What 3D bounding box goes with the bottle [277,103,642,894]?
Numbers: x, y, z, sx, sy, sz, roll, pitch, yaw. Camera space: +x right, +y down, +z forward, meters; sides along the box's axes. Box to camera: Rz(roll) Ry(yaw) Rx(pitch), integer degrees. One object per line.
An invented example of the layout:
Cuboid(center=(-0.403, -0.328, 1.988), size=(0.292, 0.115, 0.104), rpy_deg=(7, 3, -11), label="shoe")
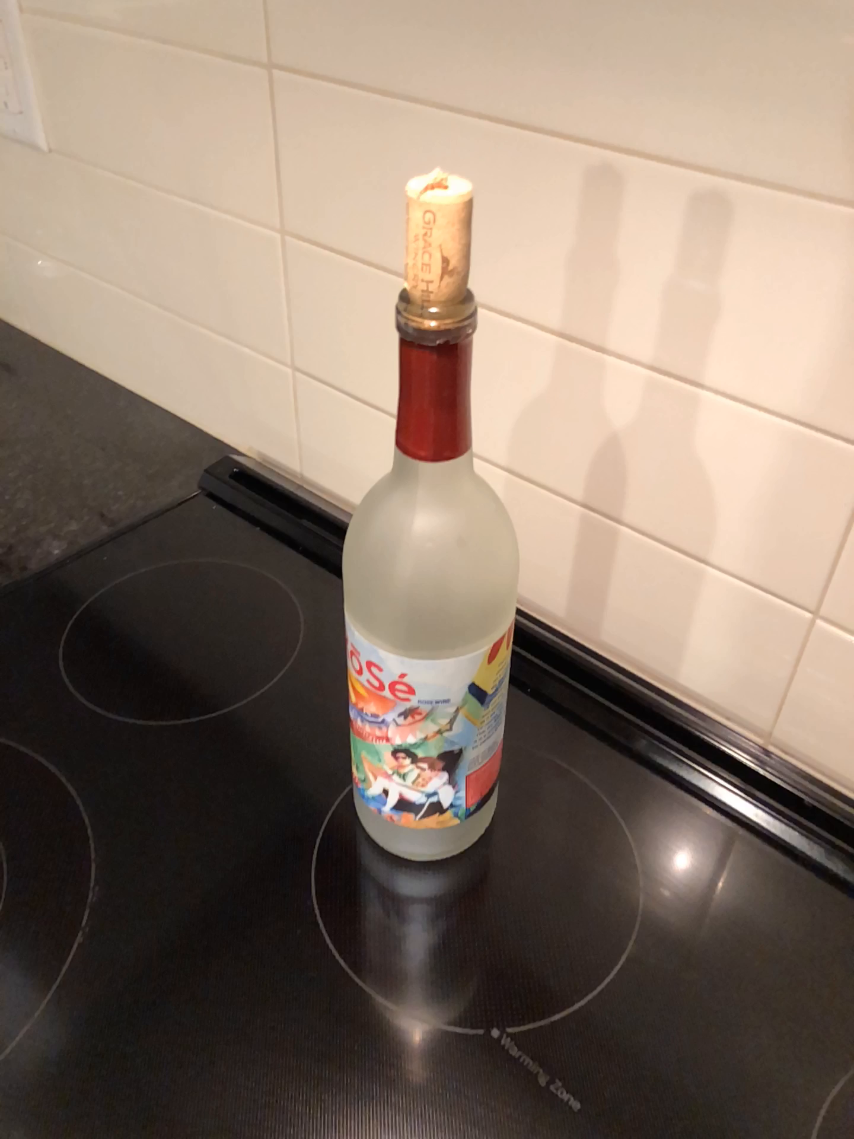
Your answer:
Cuboid(center=(0.006, -0.006, 0.391), size=(0.080, 0.318, 0.080), rpy_deg=(1, 39, -1), label="bottle")
